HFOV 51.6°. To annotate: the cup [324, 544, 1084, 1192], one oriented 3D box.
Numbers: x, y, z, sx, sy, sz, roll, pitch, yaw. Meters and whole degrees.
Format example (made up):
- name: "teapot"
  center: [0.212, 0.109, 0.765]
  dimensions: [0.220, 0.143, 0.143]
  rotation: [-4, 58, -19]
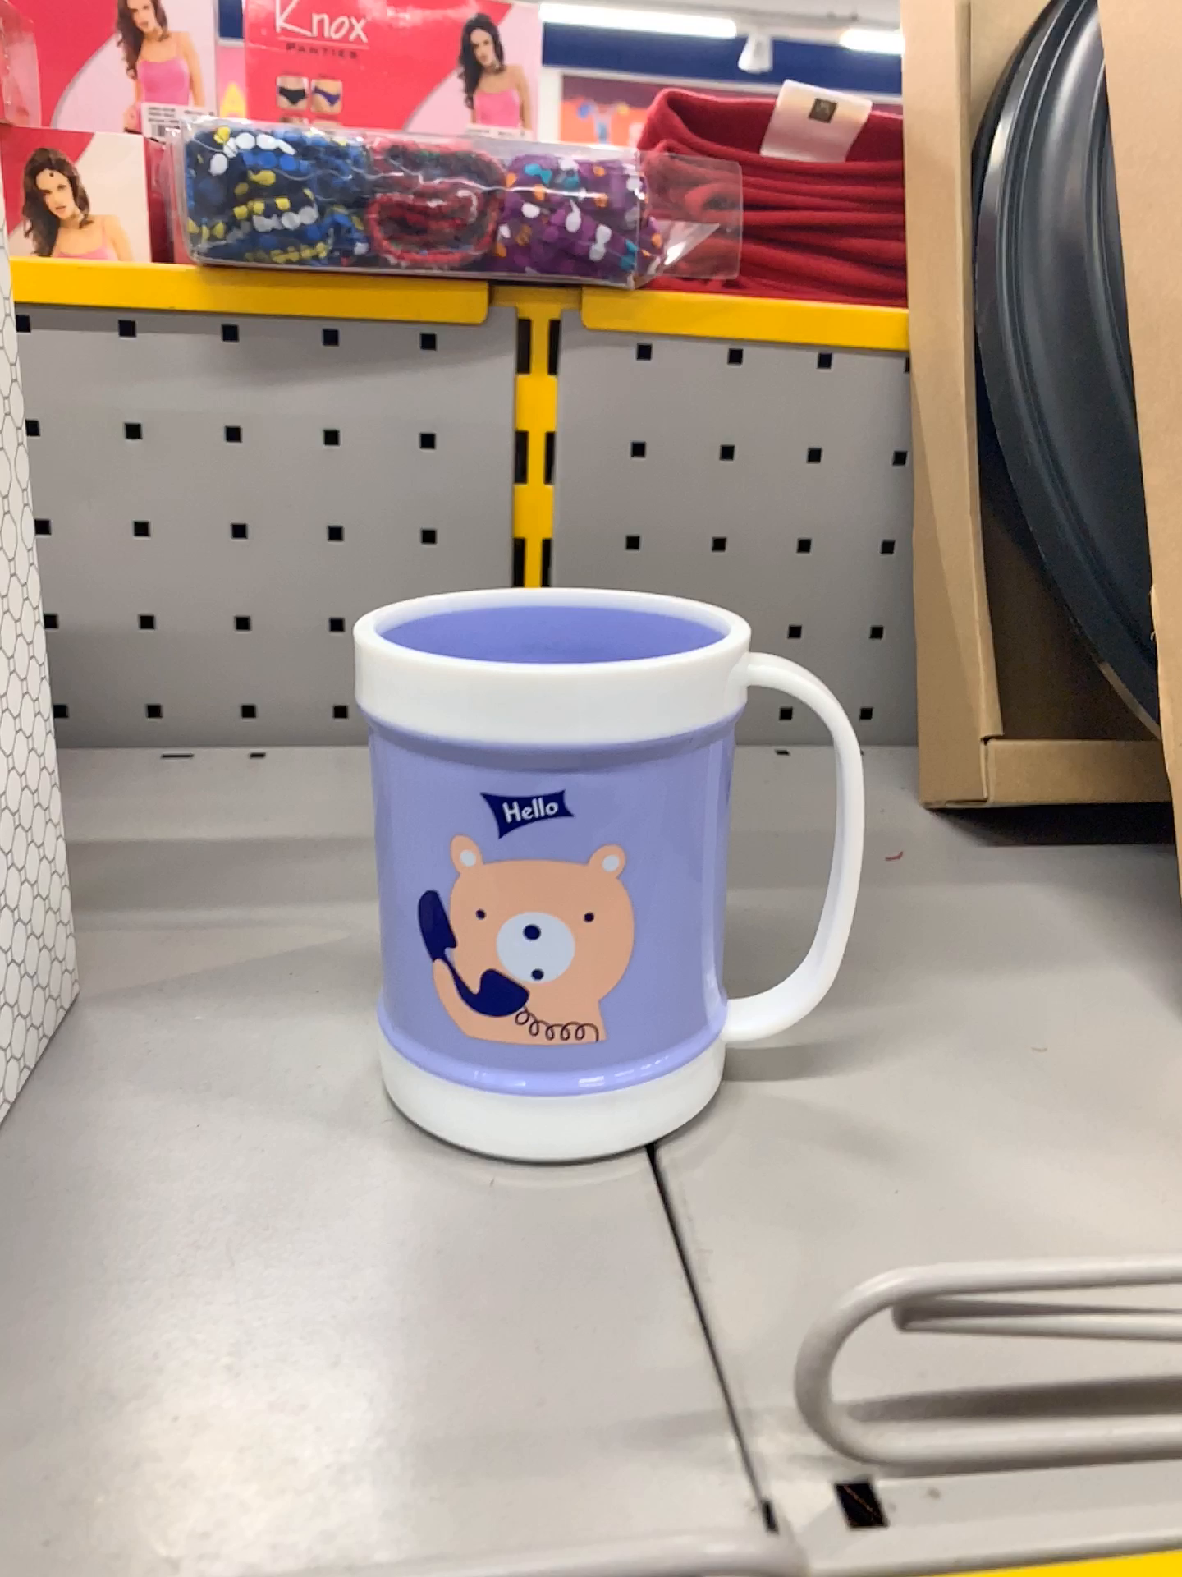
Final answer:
- name: "cup"
  center: [0.015, 0.010, 0.251]
  dimensions: [0.120, 0.100, 0.090]
  rotation: [3, 19, -2]
